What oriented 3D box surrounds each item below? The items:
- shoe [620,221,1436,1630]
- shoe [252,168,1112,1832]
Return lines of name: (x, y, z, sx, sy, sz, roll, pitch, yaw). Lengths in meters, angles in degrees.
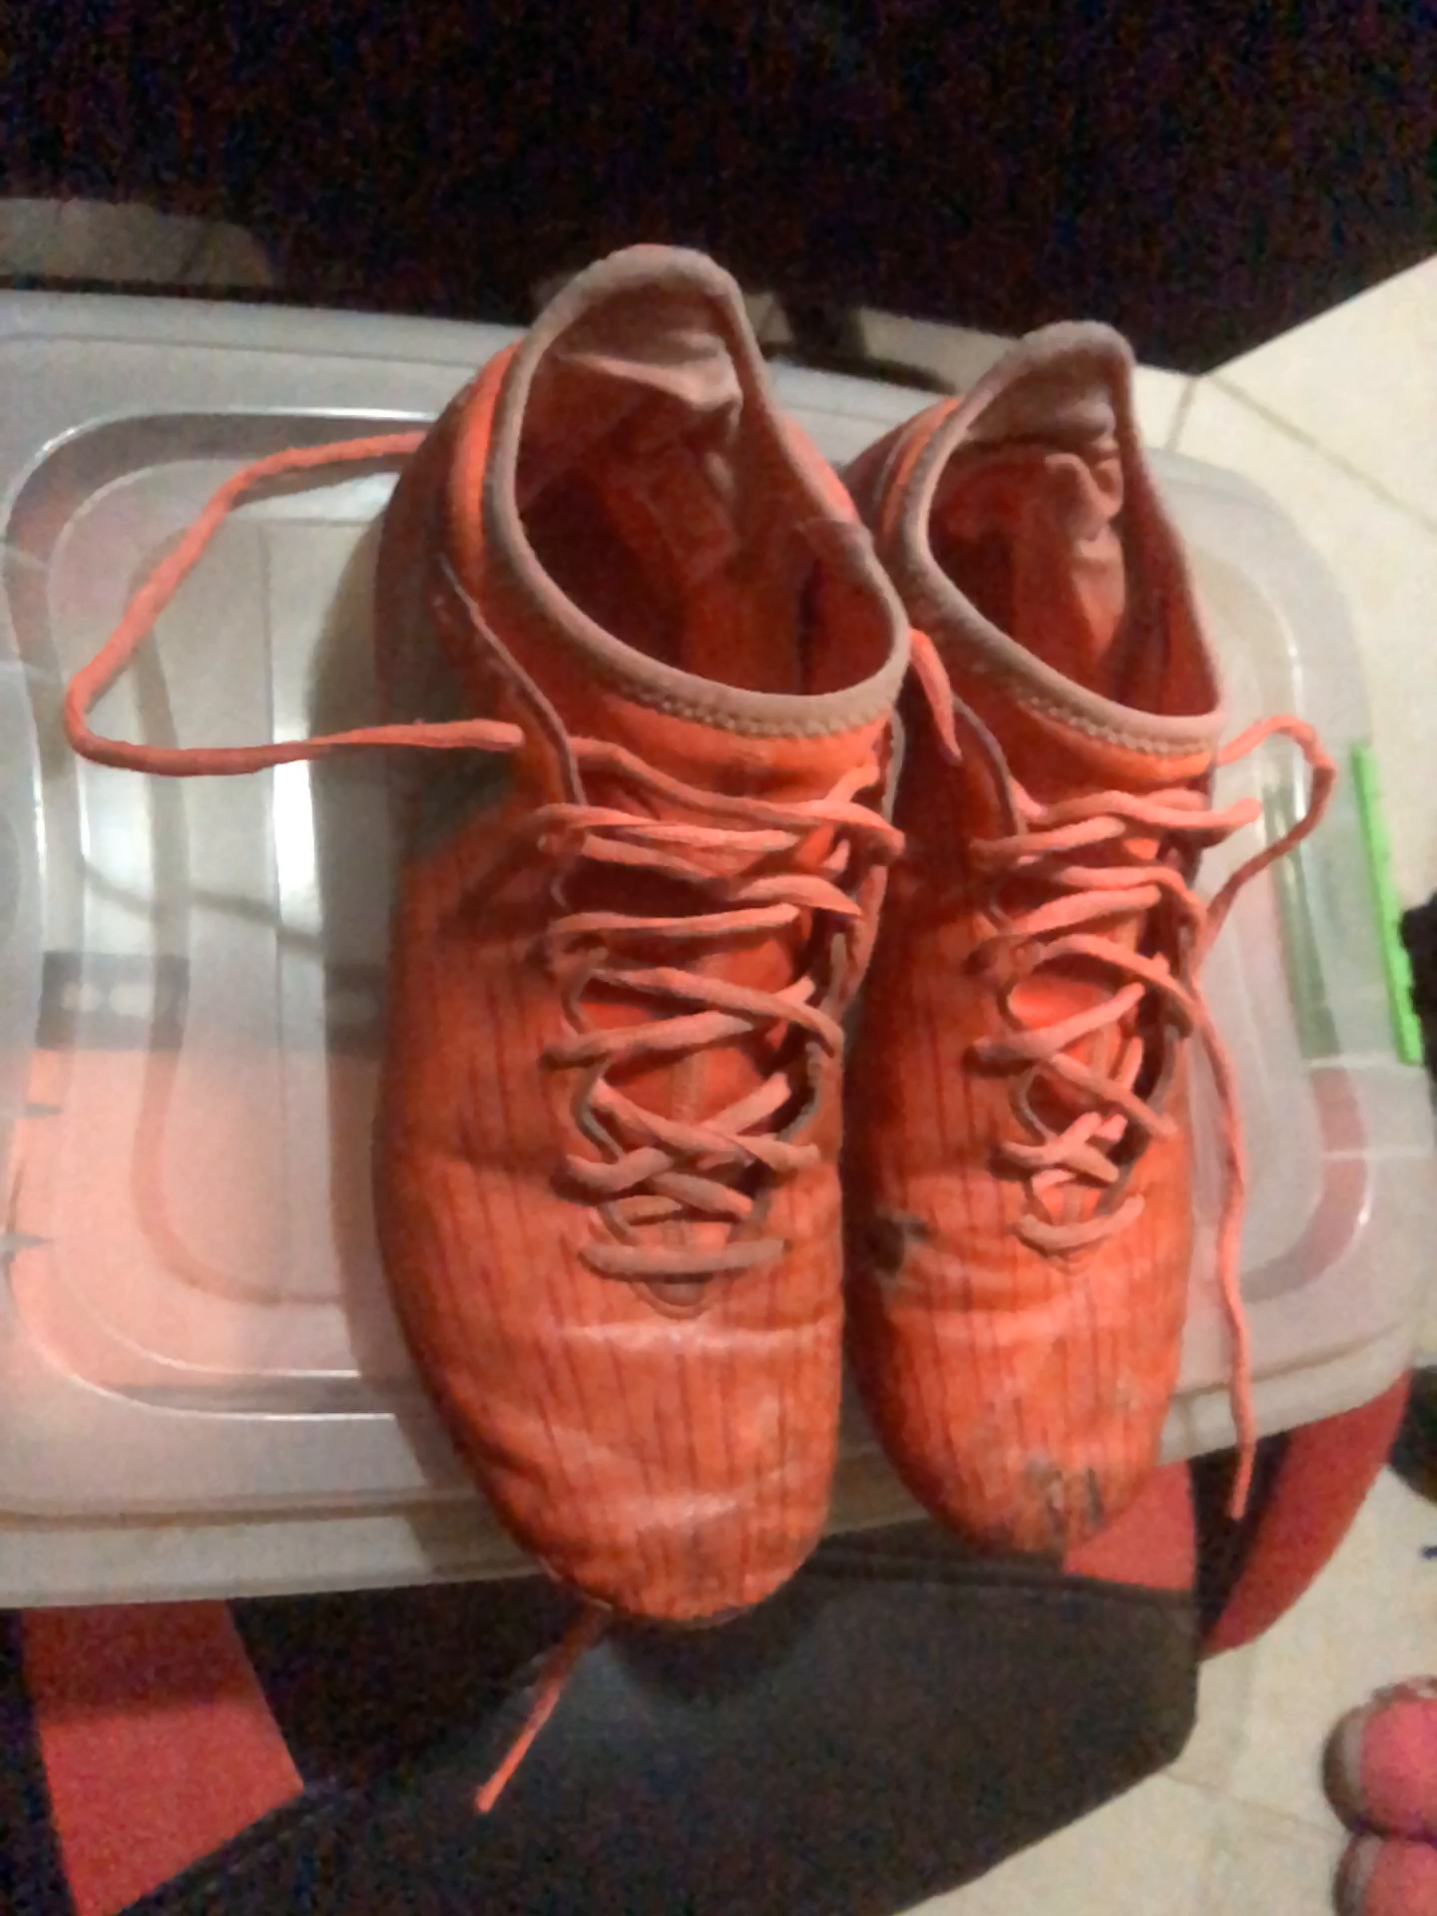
shoe: (0.058, -0.004, 0.343, 0.090, 0.130, 0.240, -4, 81, -24)
shoe: (-0.022, 0.006, 0.304, 0.090, 0.130, 0.240, -4, 81, -24)
